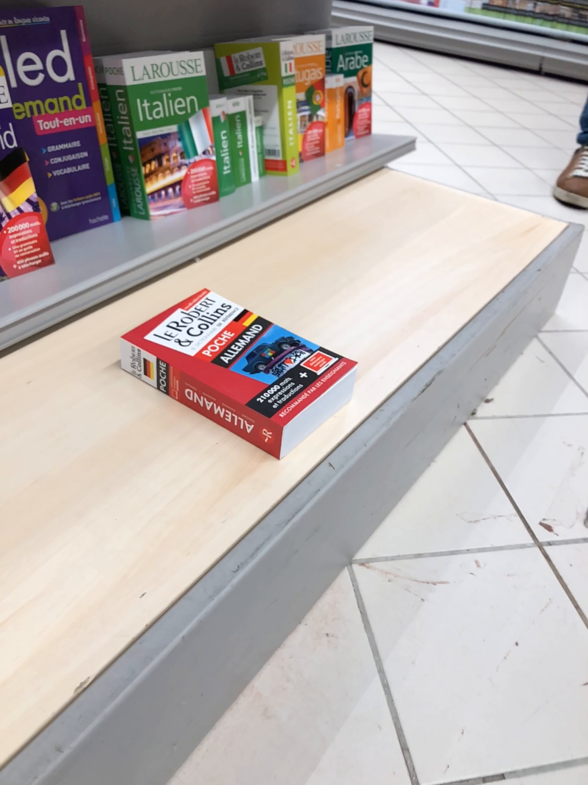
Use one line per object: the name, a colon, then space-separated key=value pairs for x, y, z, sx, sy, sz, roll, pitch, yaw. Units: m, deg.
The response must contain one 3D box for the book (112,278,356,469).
book: x=-0.051 y=-0.024 z=0.551 sx=0.170 sy=0.050 sz=0.111 roll=28 pitch=44 yaw=23
